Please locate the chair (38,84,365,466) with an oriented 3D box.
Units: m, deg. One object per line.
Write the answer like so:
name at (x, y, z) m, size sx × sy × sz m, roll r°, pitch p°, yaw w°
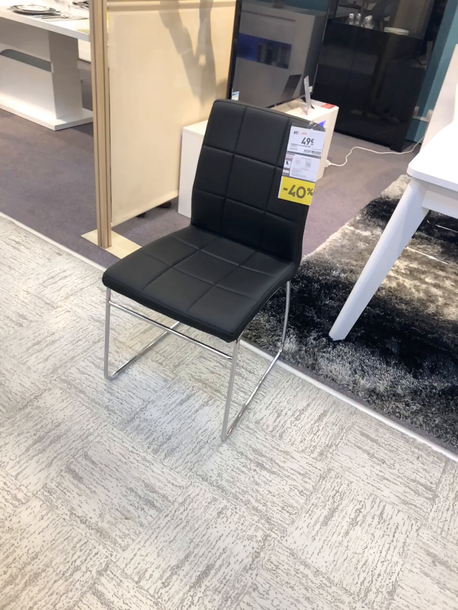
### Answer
chair at (-0.074, -0.129, 1.475) m, size 0.550 × 0.795 × 0.634 m, roll 25°, pitch 39°, yaw 23°
